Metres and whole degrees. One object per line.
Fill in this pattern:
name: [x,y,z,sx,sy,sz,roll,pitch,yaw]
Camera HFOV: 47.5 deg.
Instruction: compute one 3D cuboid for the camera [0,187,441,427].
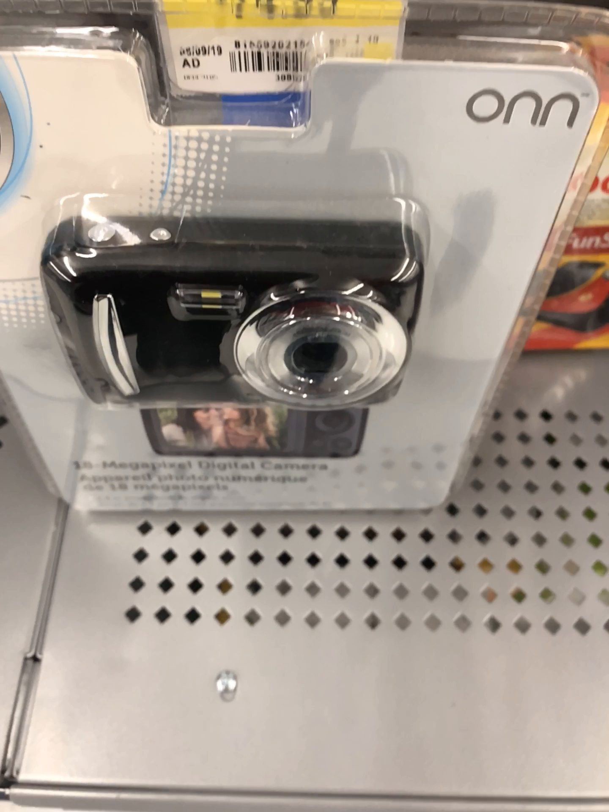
camera: [-0.020,-0.024,0.188,0.100,0.060,0.030,1,56,0]
